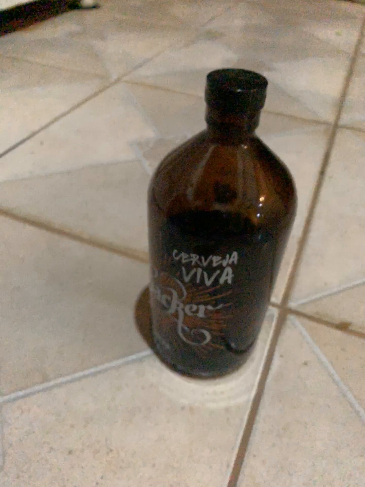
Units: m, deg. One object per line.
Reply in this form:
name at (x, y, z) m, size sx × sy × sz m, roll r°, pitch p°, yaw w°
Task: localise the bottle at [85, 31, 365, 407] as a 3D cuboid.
bottle at (0.015, -0.005, 0.254) m, size 0.090 × 0.209 × 0.100 m, roll -24°, pitch 48°, yaw -24°
